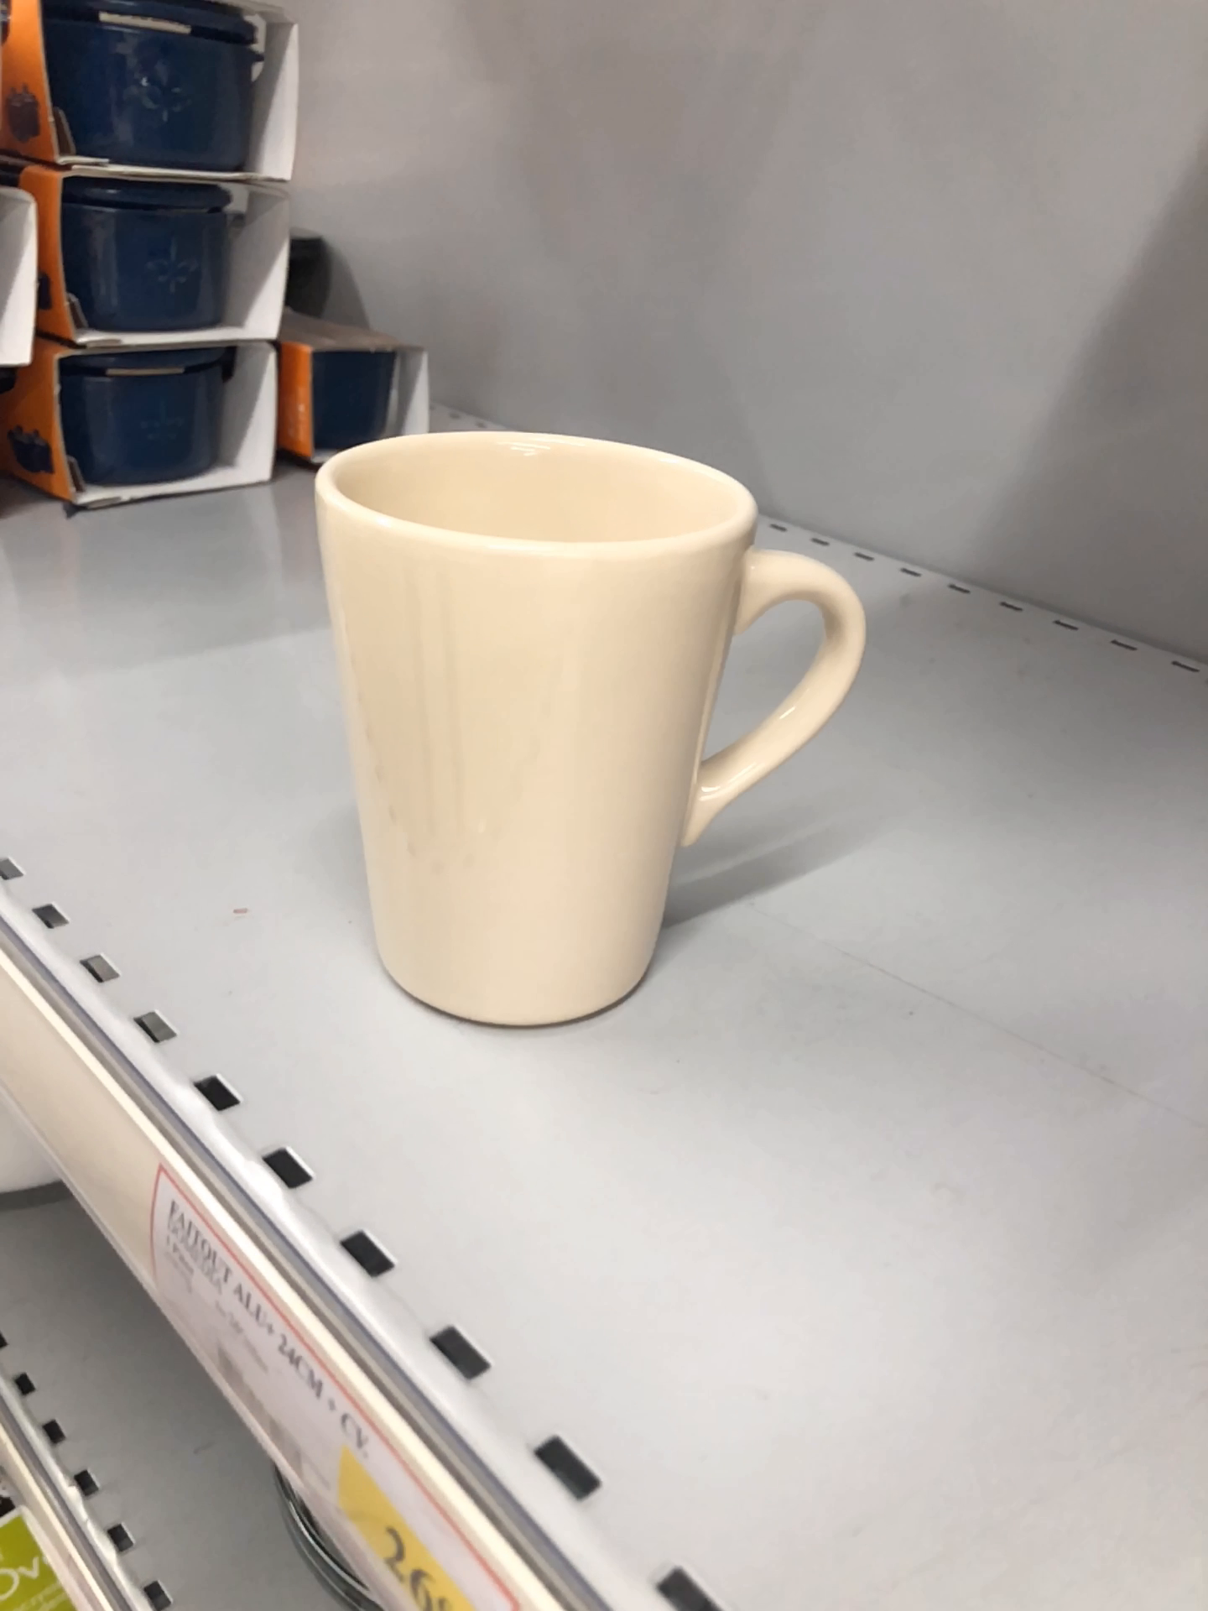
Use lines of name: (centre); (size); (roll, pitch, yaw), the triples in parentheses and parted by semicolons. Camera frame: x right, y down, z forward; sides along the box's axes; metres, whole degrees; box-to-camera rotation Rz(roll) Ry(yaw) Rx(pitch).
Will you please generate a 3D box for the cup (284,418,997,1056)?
cup: (-0.002, -0.018, 0.275); (0.119, 0.099, 0.082); (-2, 28, -12)
